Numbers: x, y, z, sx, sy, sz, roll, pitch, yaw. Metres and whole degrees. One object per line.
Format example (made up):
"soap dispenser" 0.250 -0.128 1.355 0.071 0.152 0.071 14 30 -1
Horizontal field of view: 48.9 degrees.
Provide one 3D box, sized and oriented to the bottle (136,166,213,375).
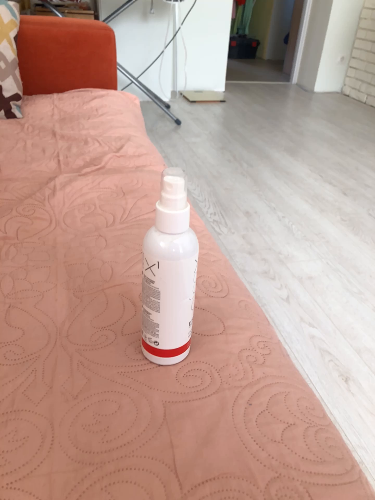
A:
"bottle" -0.013 0.022 0.339 0.050 0.169 0.050 3 32 -2
